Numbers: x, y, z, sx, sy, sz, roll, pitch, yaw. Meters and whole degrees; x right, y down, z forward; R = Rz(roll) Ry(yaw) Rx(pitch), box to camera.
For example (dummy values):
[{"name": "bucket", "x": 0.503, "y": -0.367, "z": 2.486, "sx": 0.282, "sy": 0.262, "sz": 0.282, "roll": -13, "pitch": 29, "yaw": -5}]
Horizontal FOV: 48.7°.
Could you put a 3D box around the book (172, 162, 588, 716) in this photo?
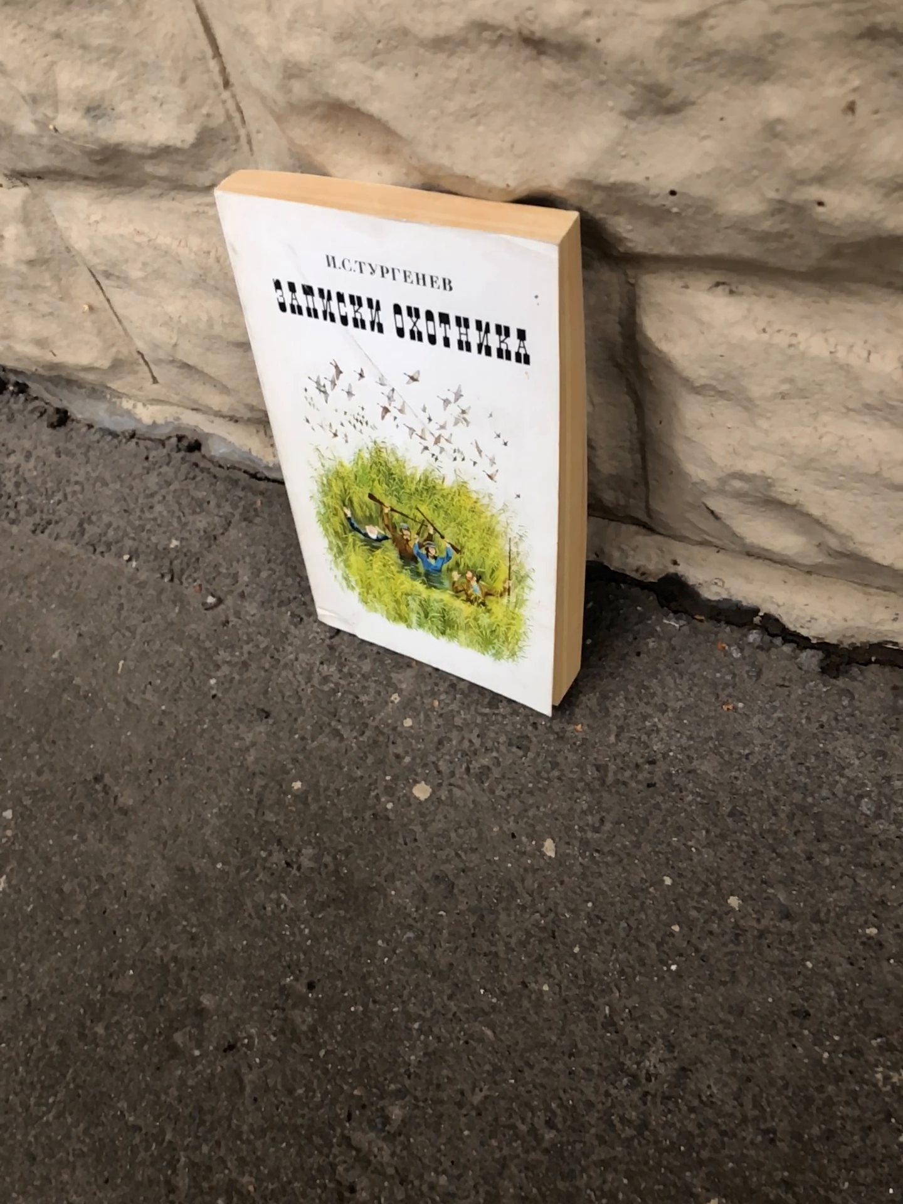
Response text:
[{"name": "book", "x": -0.021, "y": -0.055, "z": 0.370, "sx": 0.137, "sy": 0.183, "sz": 0.032, "roll": 19, "pitch": 45, "yaw": 26}]
